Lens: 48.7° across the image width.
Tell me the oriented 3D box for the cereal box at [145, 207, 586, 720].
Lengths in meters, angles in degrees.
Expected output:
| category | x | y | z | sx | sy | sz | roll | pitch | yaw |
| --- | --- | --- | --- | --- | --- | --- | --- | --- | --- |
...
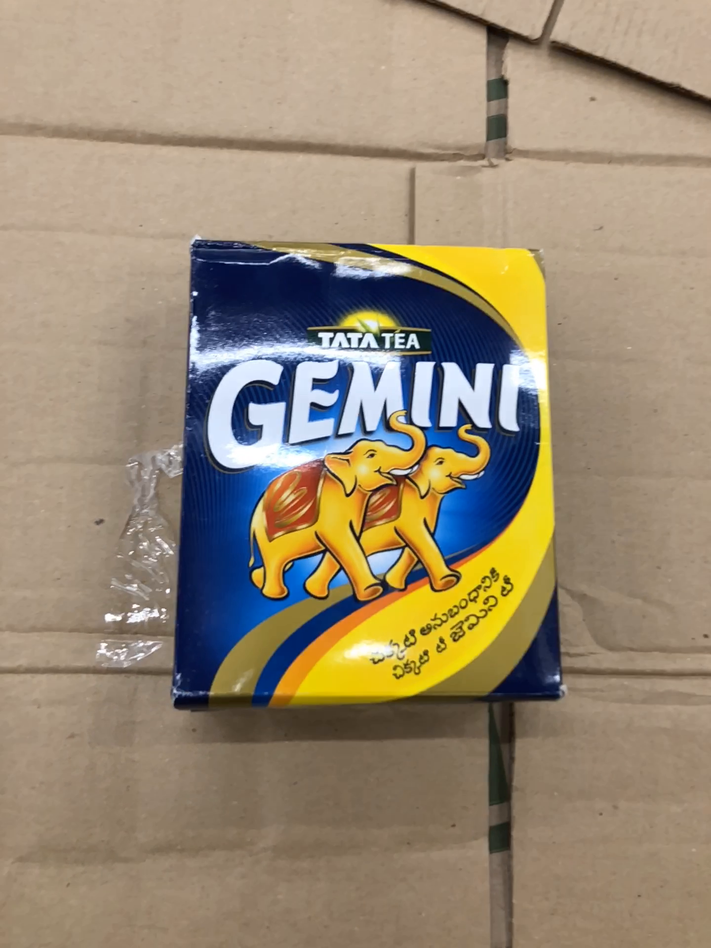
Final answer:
| category | x | y | z | sx | sy | sz | roll | pitch | yaw |
| --- | --- | --- | --- | --- | --- | --- | --- | --- | --- |
| cereal box | 0.003 | -0.003 | 0.286 | 0.140 | 0.050 | 0.170 | 1 | 82 | -3 |
